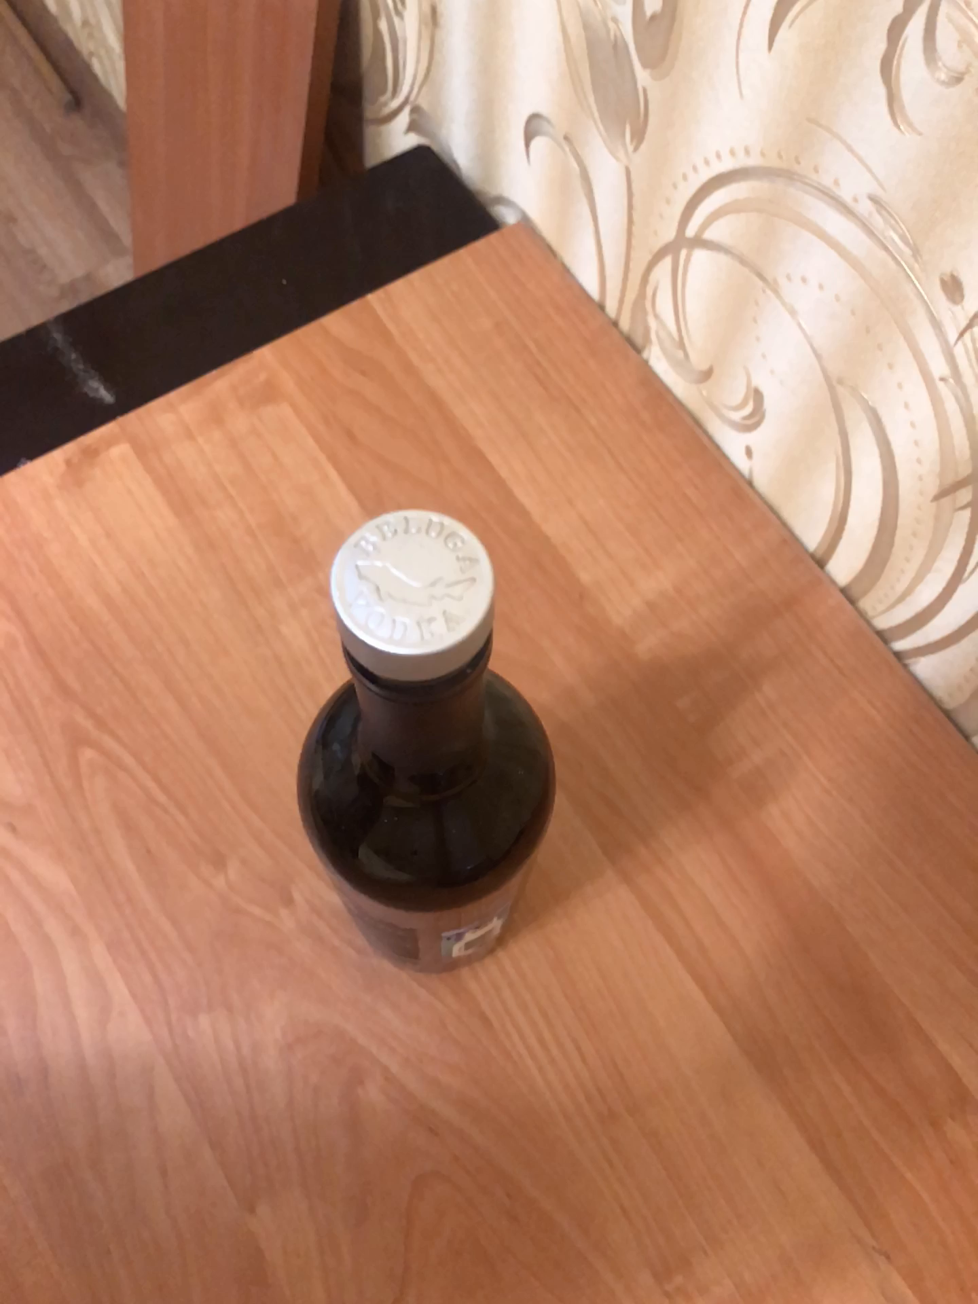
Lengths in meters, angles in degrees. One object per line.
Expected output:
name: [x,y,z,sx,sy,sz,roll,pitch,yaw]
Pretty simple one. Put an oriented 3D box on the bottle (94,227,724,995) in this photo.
bottle: [-0.020,0.033,0.330,0.073,0.323,0.083,-28,71,-12]
